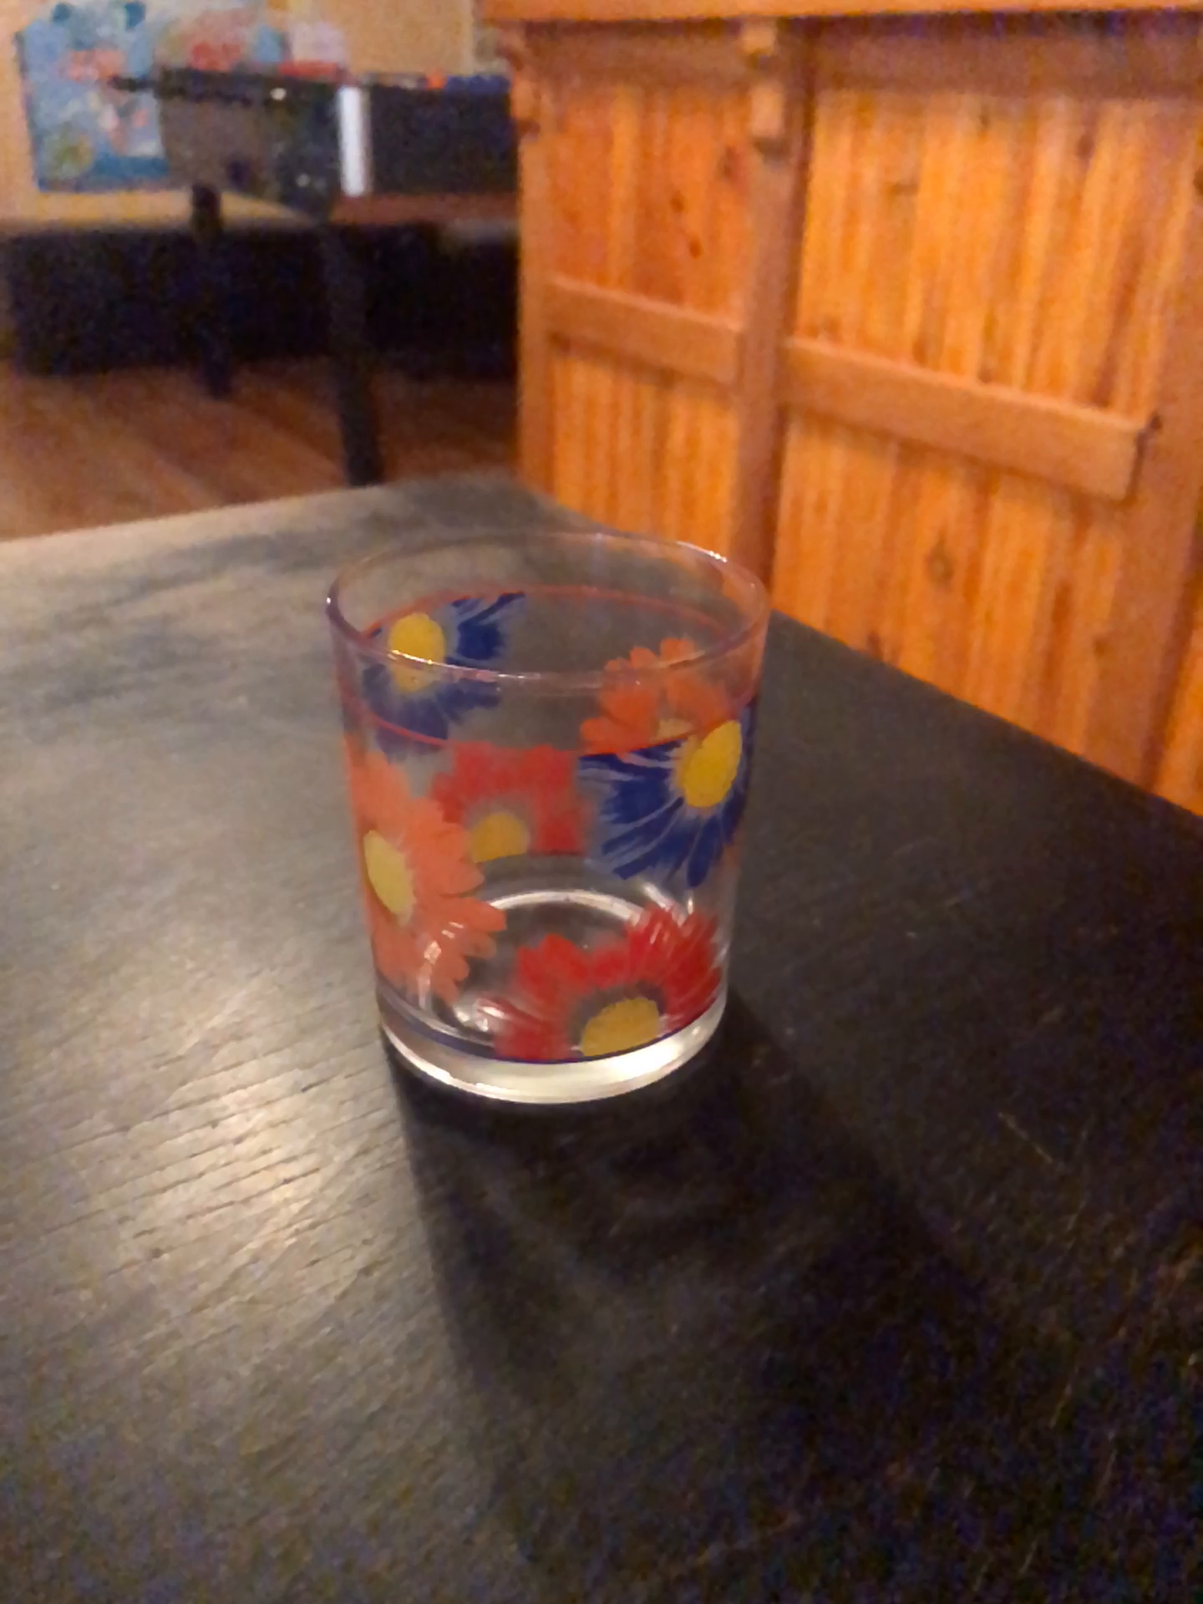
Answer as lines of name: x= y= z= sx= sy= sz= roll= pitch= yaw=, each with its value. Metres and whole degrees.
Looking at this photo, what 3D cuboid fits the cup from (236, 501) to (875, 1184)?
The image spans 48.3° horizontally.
cup: x=-0.011 y=0.000 z=0.240 sx=0.076 sy=0.079 sz=0.078 roll=1 pitch=28 yaw=-1
